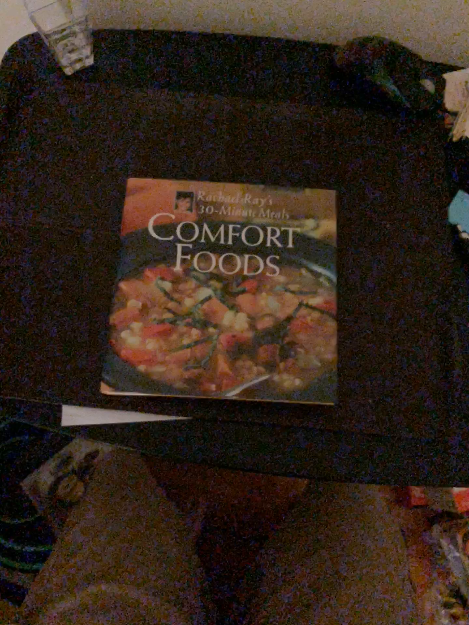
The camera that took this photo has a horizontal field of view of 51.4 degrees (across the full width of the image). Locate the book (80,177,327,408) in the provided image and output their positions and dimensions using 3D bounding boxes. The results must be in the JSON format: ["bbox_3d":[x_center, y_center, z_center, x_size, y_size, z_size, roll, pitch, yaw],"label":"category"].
[{"bbox_3d":[-0.021,-0.022,0.432,0.200,0.020,0.200,3,73,0],"label":"book"}]
